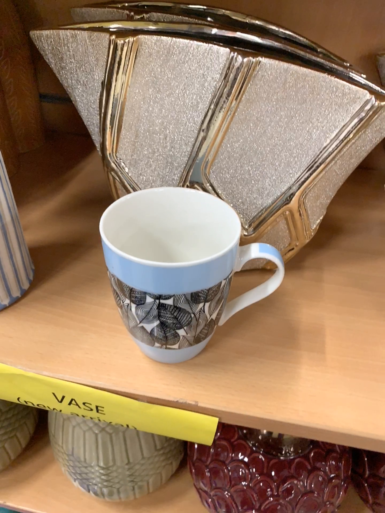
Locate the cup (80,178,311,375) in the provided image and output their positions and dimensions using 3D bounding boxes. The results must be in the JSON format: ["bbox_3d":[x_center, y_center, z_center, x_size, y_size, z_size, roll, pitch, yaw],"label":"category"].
[{"bbox_3d":[-0.002,0.010,0.248,0.110,0.090,0.080,-1,36,-4],"label":"cup"}]
